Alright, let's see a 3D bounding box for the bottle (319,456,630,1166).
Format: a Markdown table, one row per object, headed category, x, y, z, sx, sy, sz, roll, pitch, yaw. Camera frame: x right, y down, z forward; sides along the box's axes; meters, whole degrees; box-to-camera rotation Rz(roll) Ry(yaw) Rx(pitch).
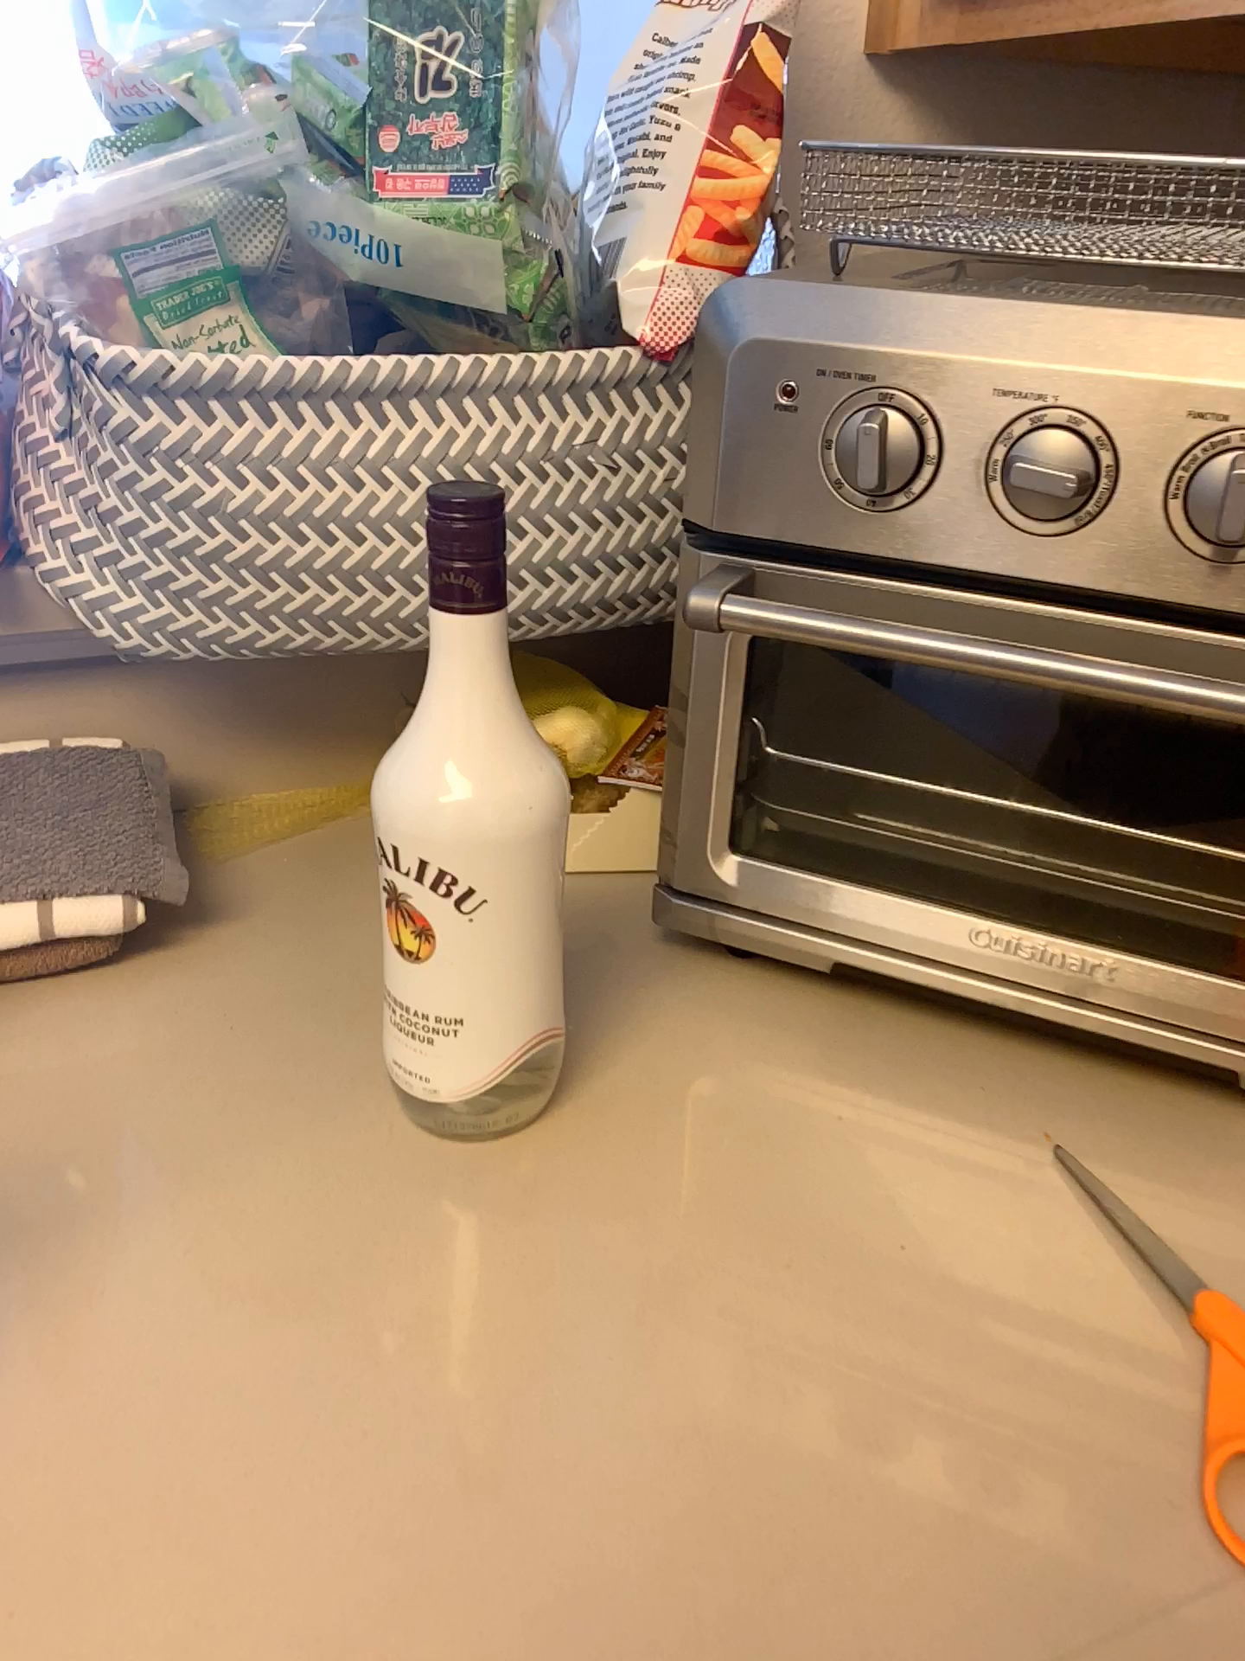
| category | x | y | z | sx | sy | sz | roll | pitch | yaw |
| --- | --- | --- | --- | --- | --- | --- | --- | --- | --- |
| bottle | -0.054 | -0.004 | 0.504 | 0.080 | 0.258 | 0.080 | 2 | 27 | -1 |
